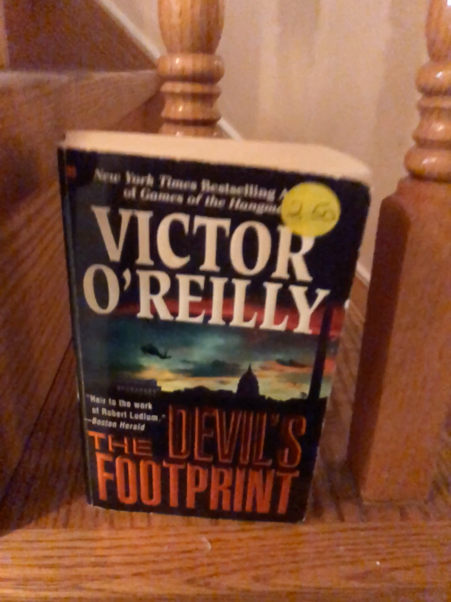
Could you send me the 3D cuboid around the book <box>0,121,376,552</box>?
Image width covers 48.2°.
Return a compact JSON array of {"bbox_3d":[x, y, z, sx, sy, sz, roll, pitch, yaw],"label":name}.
[{"bbox_3d":[-0.014,0.019,0.215,0.120,0.169,0.050,5,27,7],"label":"book"}]
